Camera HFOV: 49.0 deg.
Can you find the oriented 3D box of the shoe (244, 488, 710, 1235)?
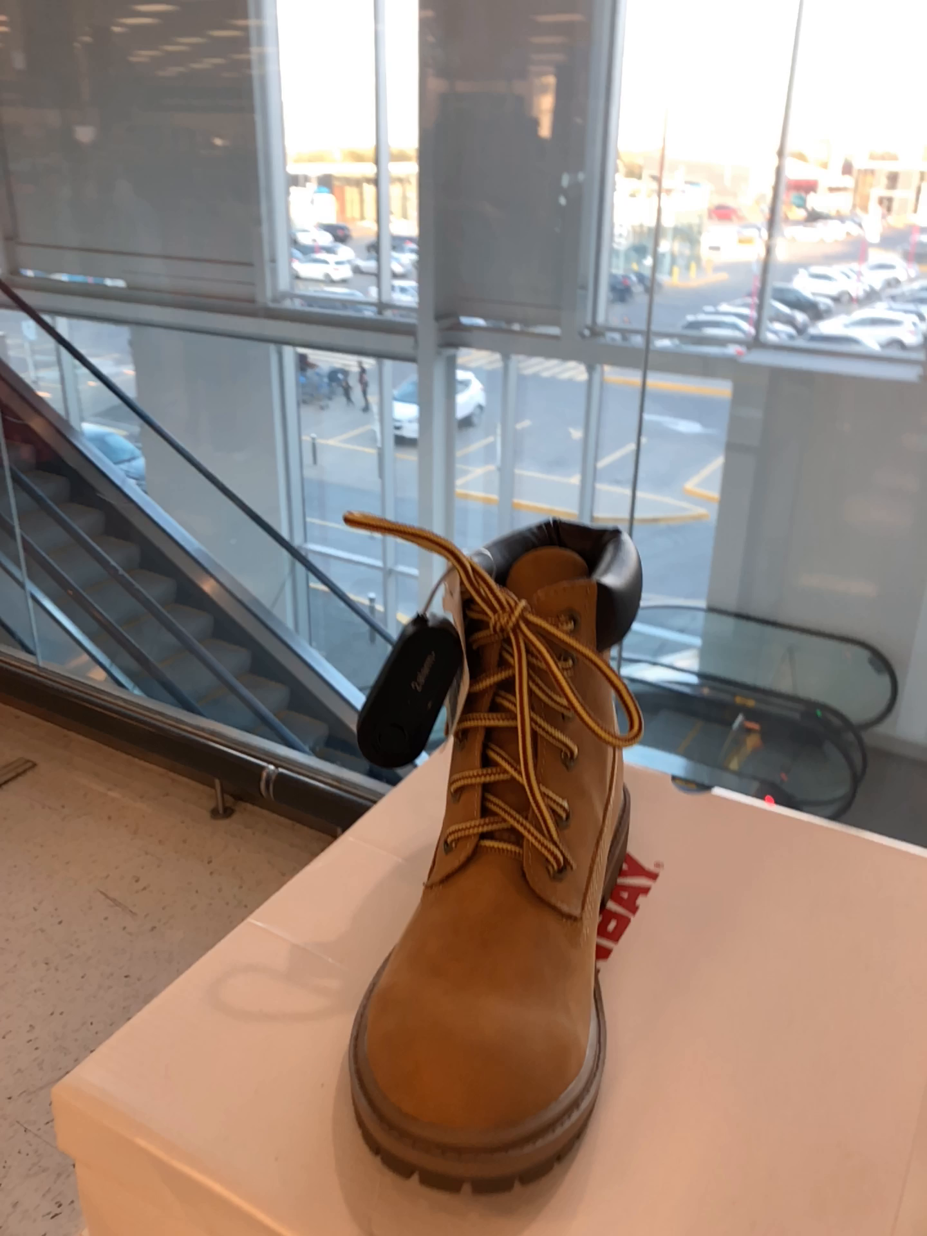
[{"bbox_3d":[0.024,0.070,0.400,0.107,0.169,0.242,8,25,14],"label":"shoe"}]
